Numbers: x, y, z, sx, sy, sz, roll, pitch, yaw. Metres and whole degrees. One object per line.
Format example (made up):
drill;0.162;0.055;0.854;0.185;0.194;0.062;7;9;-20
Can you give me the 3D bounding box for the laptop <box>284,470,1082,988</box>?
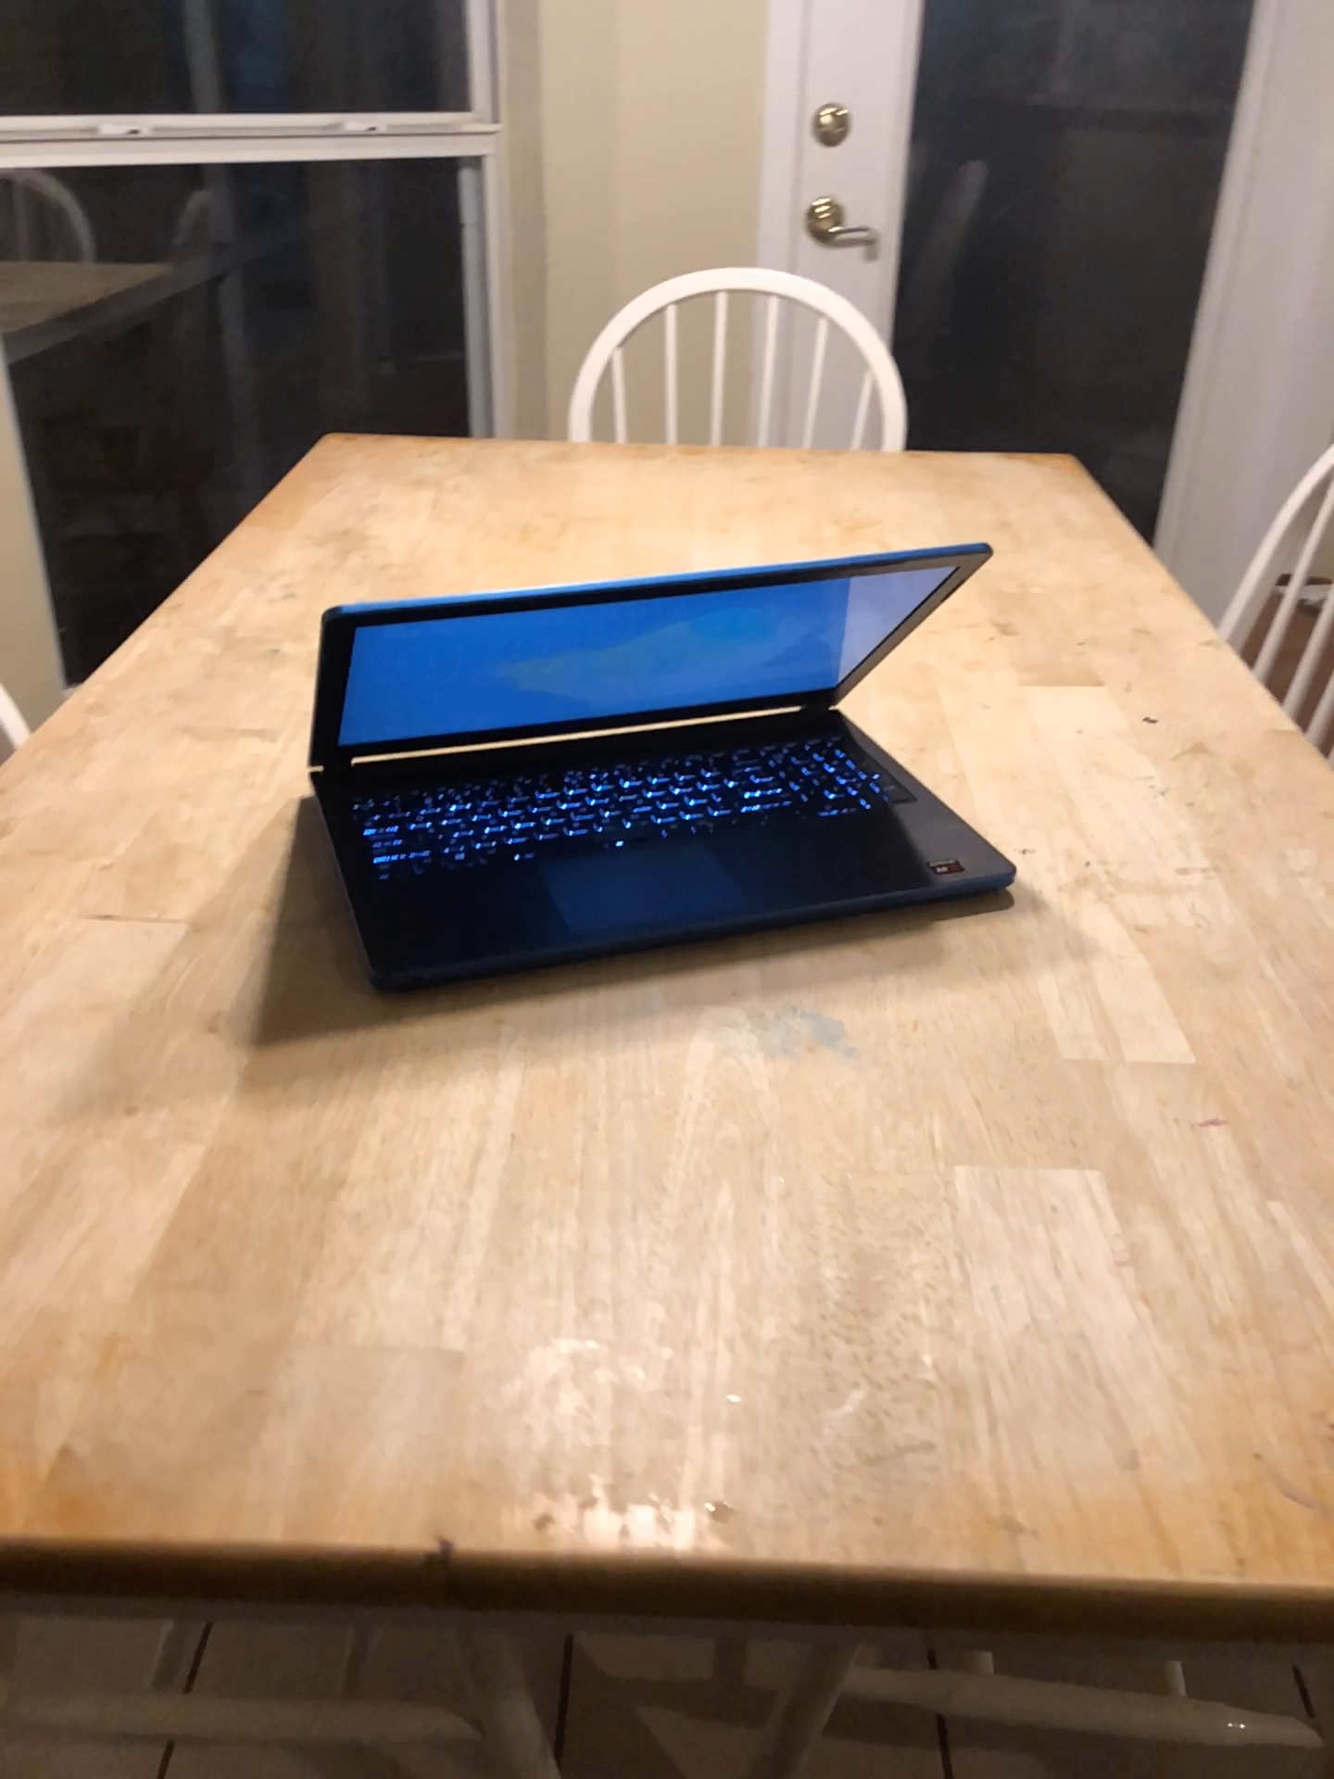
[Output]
laptop;-0.005;-0.111;0.827;0.361;0.159;0.249;-10;32;-18
